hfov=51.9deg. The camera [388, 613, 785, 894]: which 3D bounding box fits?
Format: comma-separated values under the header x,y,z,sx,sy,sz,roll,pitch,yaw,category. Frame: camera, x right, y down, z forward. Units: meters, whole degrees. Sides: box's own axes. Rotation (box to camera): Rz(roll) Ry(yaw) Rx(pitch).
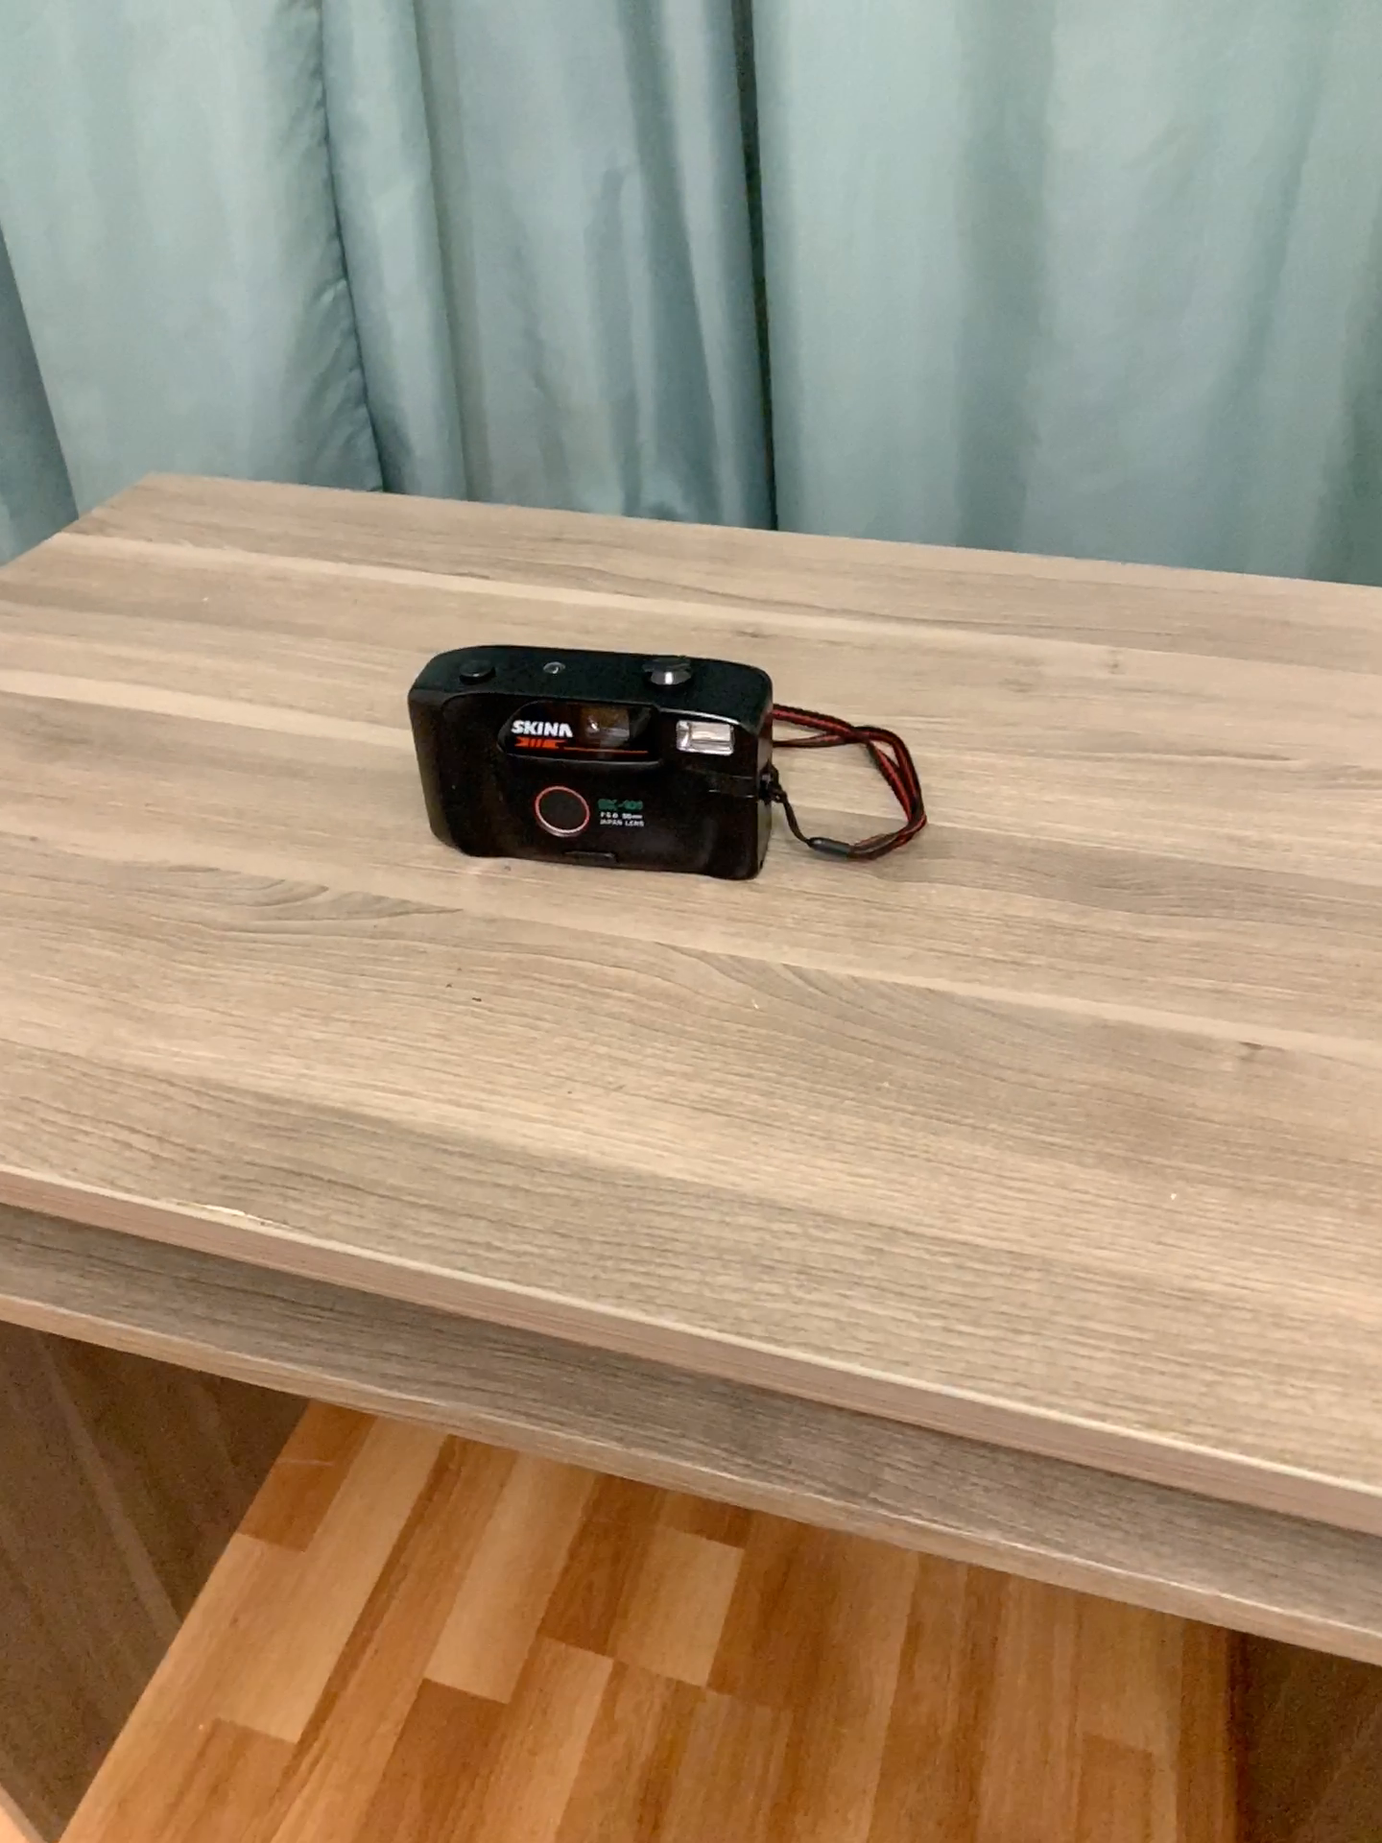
x,y,z,sx,sy,sz,roll,pitch,yaw,category
-0.032,-0.057,0.476,0.120,0.069,0.046,6,37,9,camera
